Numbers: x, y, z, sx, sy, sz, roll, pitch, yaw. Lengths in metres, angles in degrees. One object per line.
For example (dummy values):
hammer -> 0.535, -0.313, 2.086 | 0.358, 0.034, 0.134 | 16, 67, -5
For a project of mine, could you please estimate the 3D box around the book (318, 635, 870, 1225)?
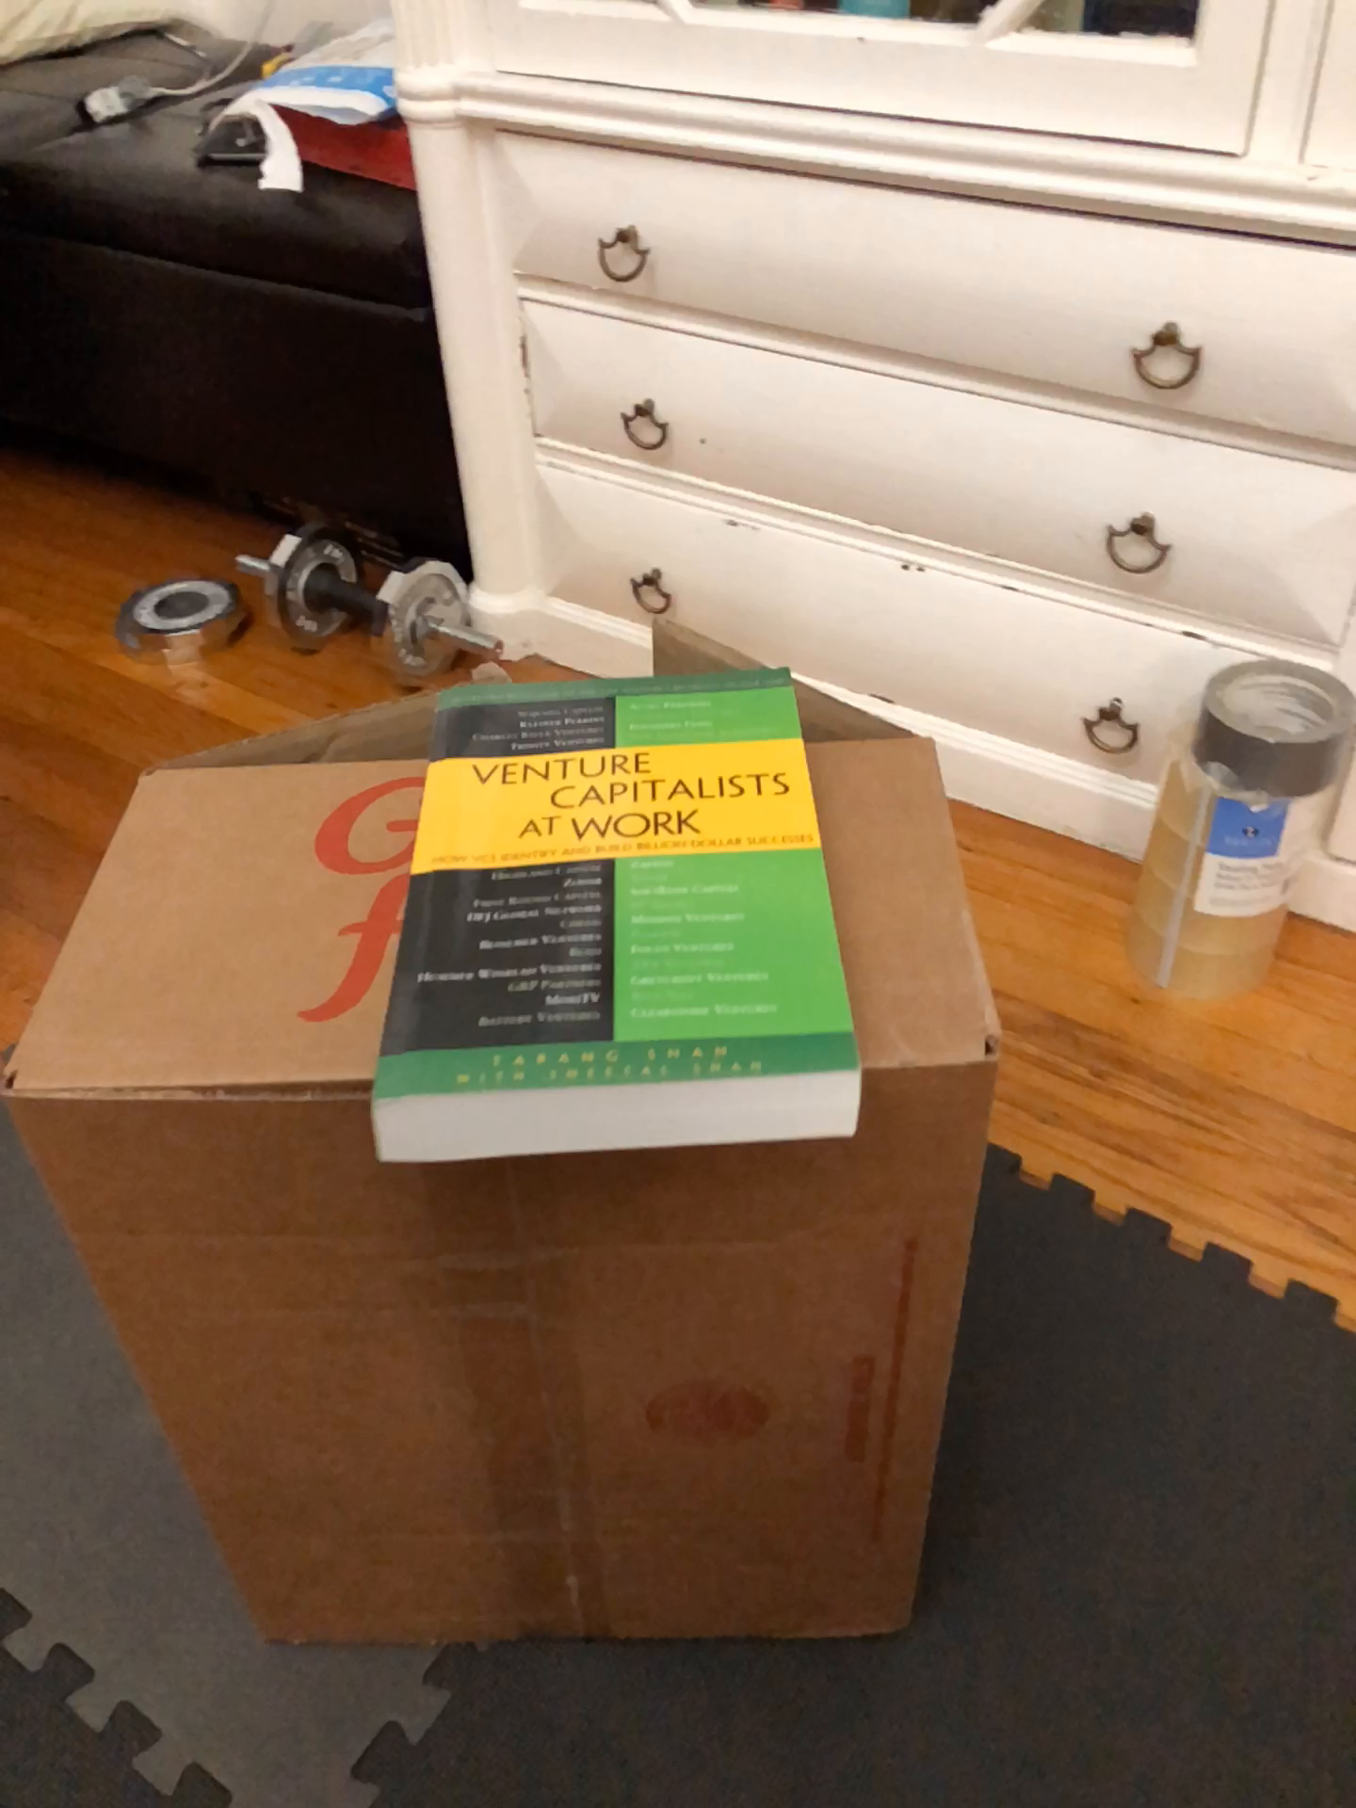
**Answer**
book -> -0.027, -0.007, 0.541 | 0.160, 0.040, 0.262 | -3, 42, 1
